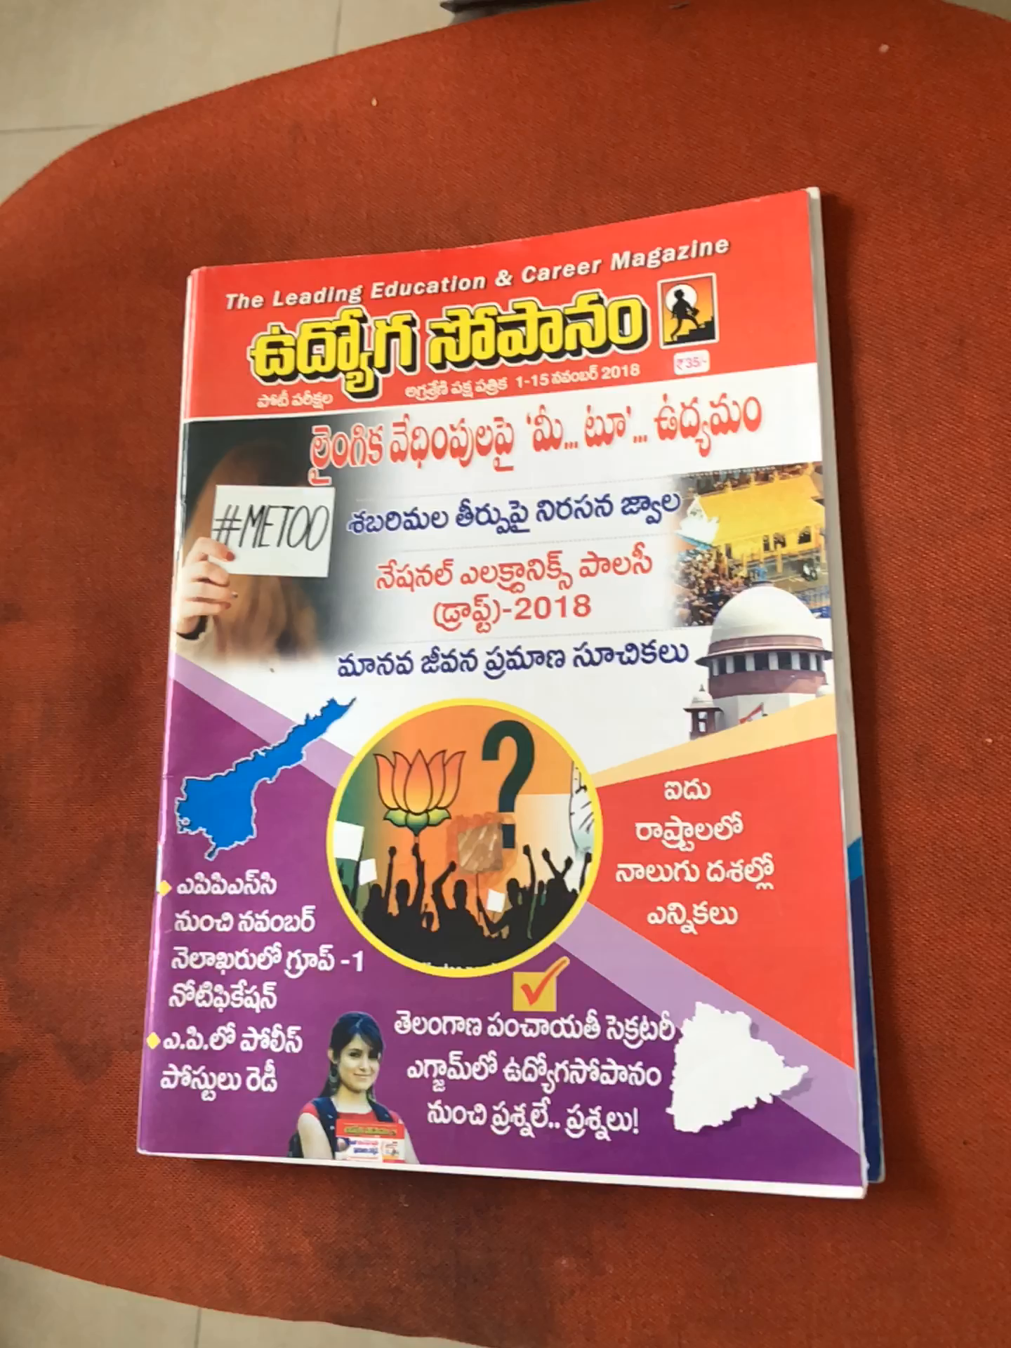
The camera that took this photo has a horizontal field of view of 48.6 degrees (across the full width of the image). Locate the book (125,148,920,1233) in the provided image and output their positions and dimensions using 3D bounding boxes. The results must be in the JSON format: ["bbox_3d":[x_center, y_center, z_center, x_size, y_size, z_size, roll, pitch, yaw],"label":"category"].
[{"bbox_3d":[-0.001,0.000,0.345,0.217,0.040,0.295,-3,78,15],"label":"book"}]
